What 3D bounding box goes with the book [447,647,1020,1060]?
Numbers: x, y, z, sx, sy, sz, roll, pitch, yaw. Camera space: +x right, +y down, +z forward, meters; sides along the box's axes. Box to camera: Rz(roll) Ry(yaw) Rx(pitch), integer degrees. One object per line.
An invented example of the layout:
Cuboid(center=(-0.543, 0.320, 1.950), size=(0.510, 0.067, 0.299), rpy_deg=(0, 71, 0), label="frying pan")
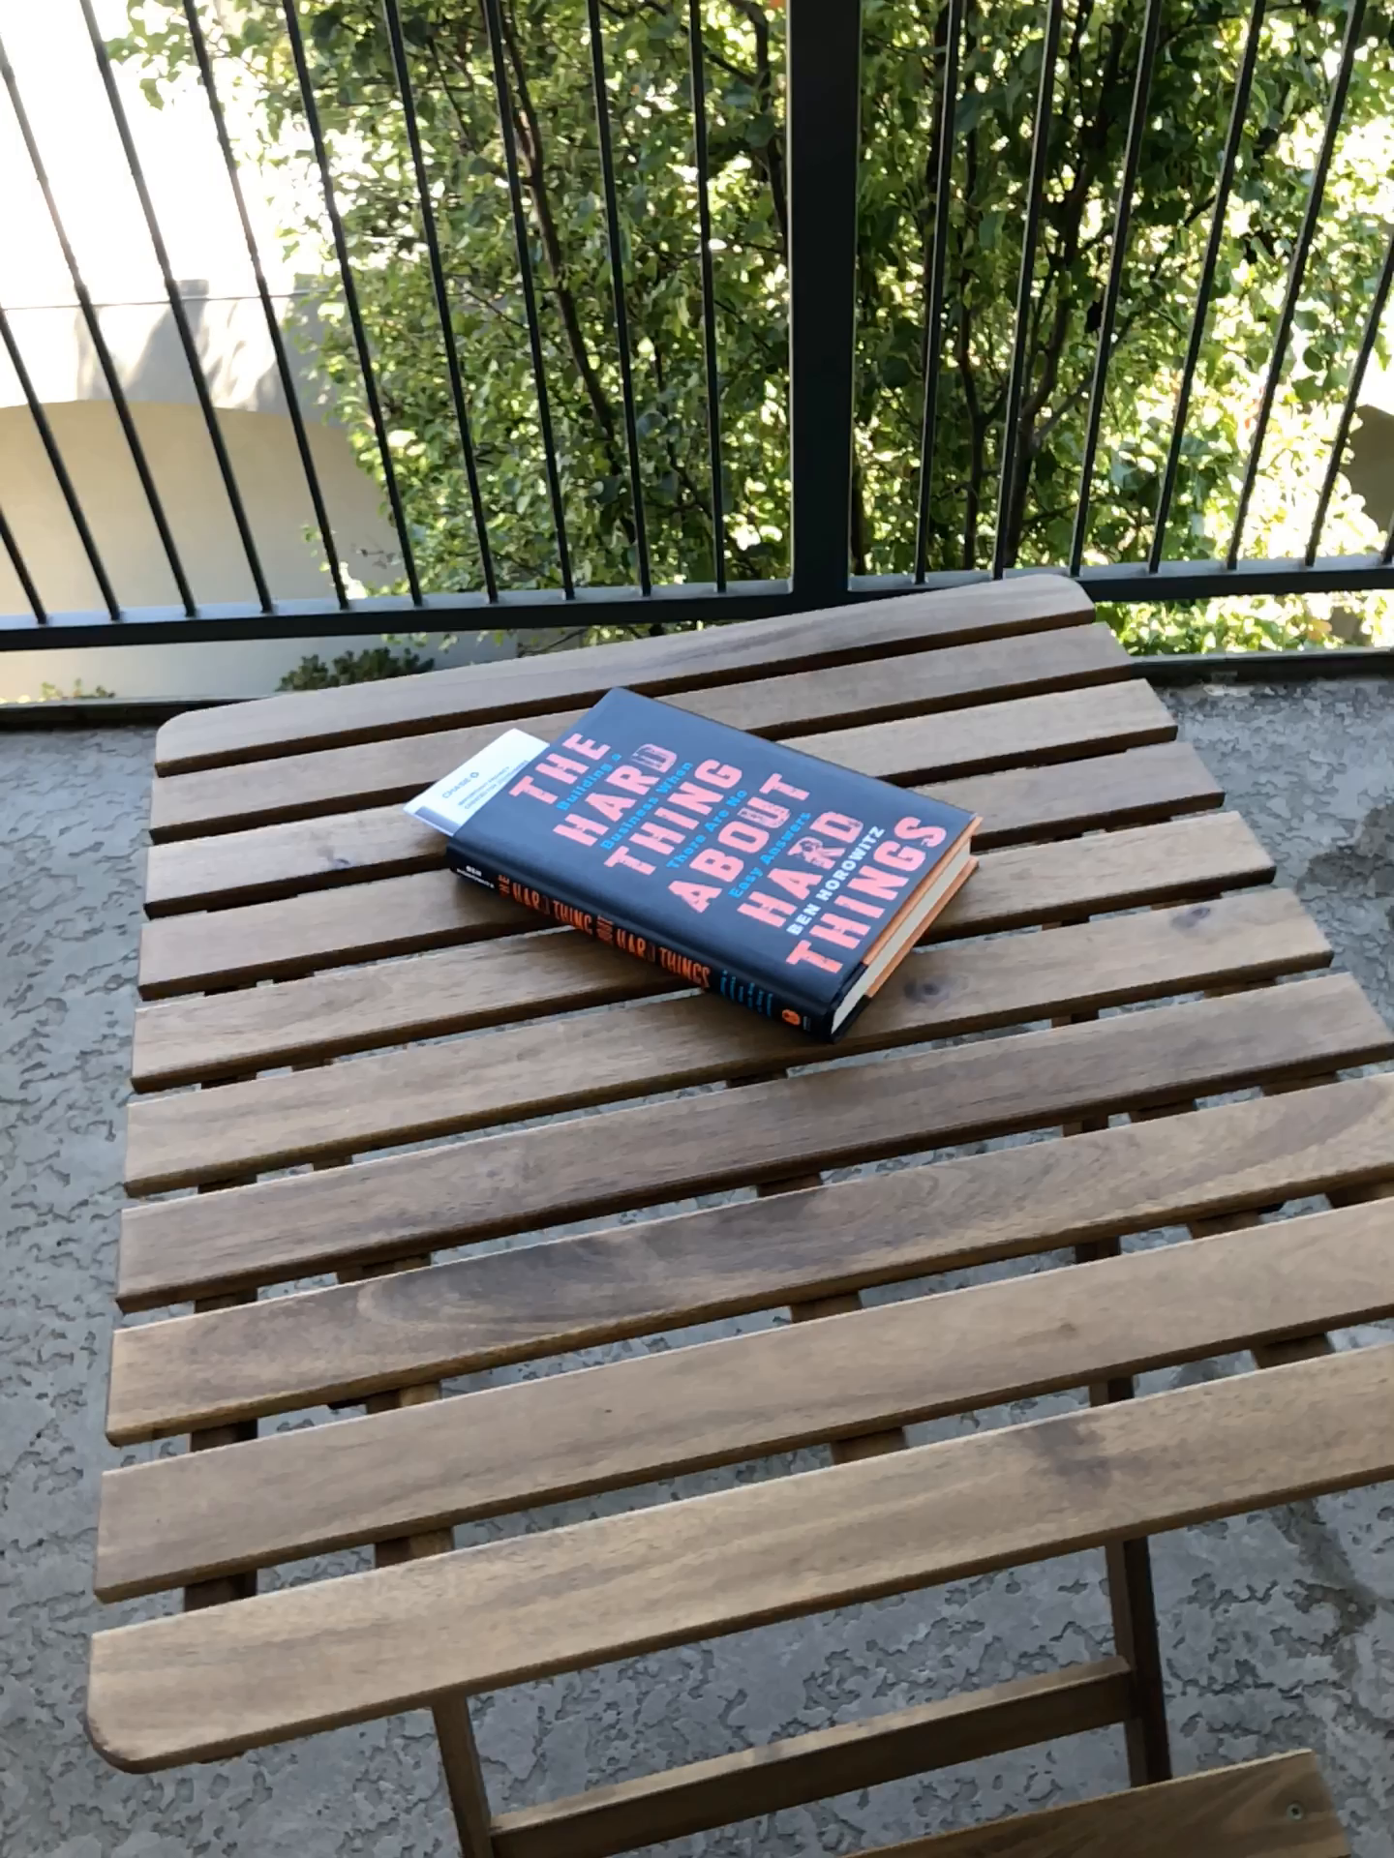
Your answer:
Cuboid(center=(0.020, -0.052, 0.820), size=(0.240, 0.040, 0.180), rpy_deg=(24, 52, 25), label="book")
